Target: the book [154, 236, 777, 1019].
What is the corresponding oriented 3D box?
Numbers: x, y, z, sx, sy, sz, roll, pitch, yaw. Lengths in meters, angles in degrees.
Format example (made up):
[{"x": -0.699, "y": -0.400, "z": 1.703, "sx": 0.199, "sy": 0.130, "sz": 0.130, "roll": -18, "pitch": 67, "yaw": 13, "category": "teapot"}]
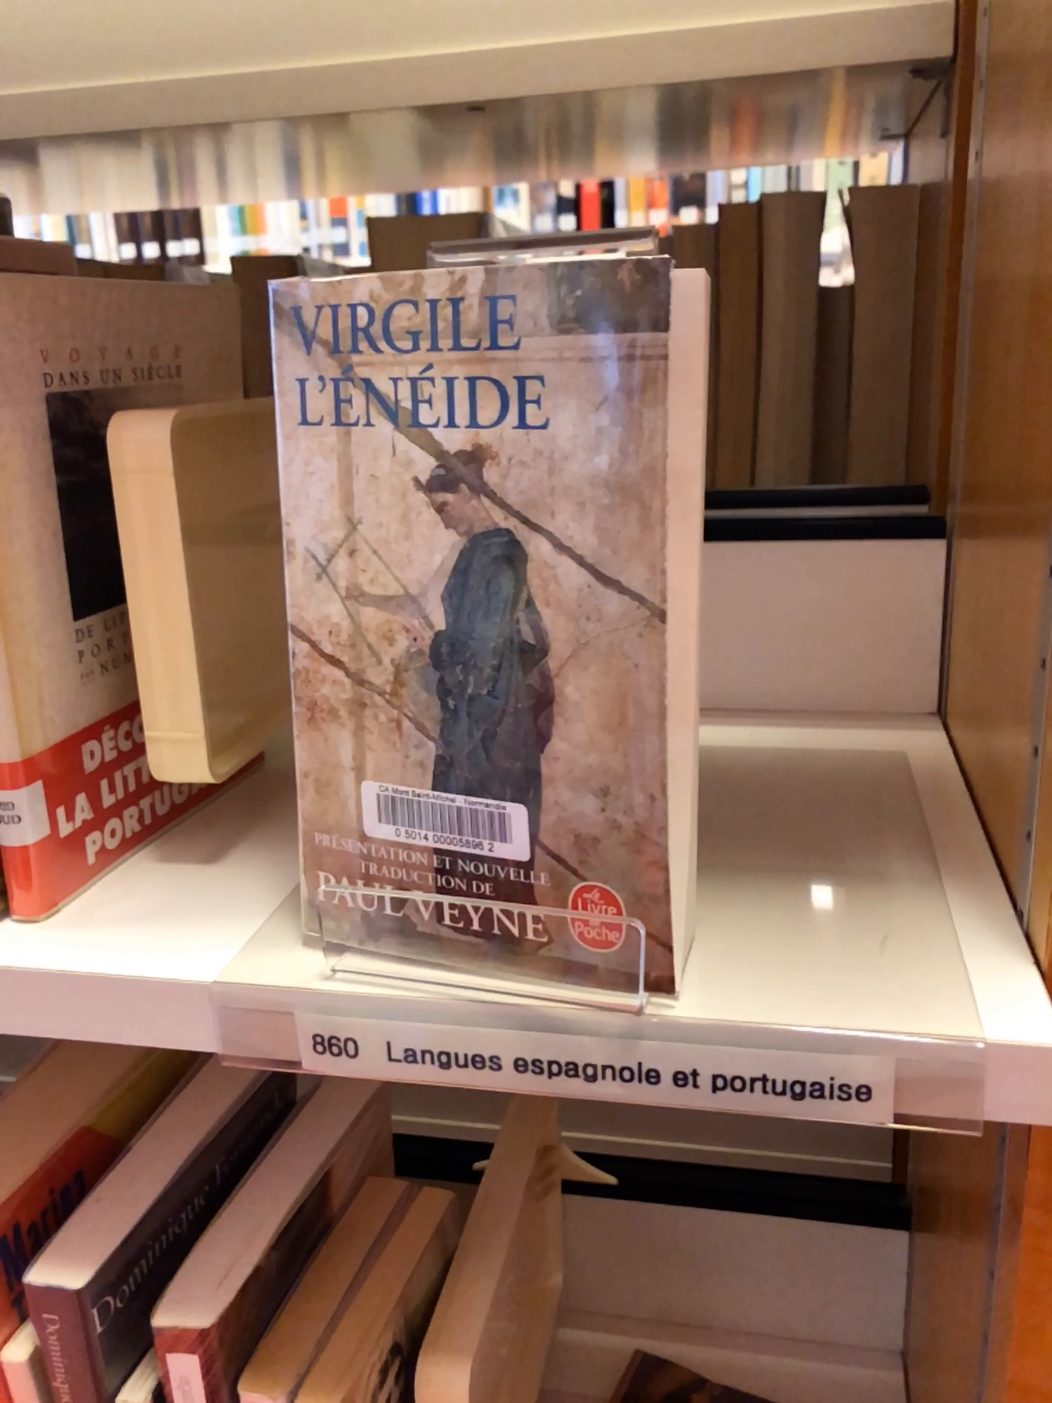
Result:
[{"x": -0.009, "y": -0.023, "z": 0.302, "sx": 0.131, "sy": 0.168, "sz": 0.074, "roll": 4, "pitch": 16, "yaw": 21, "category": "book"}]
